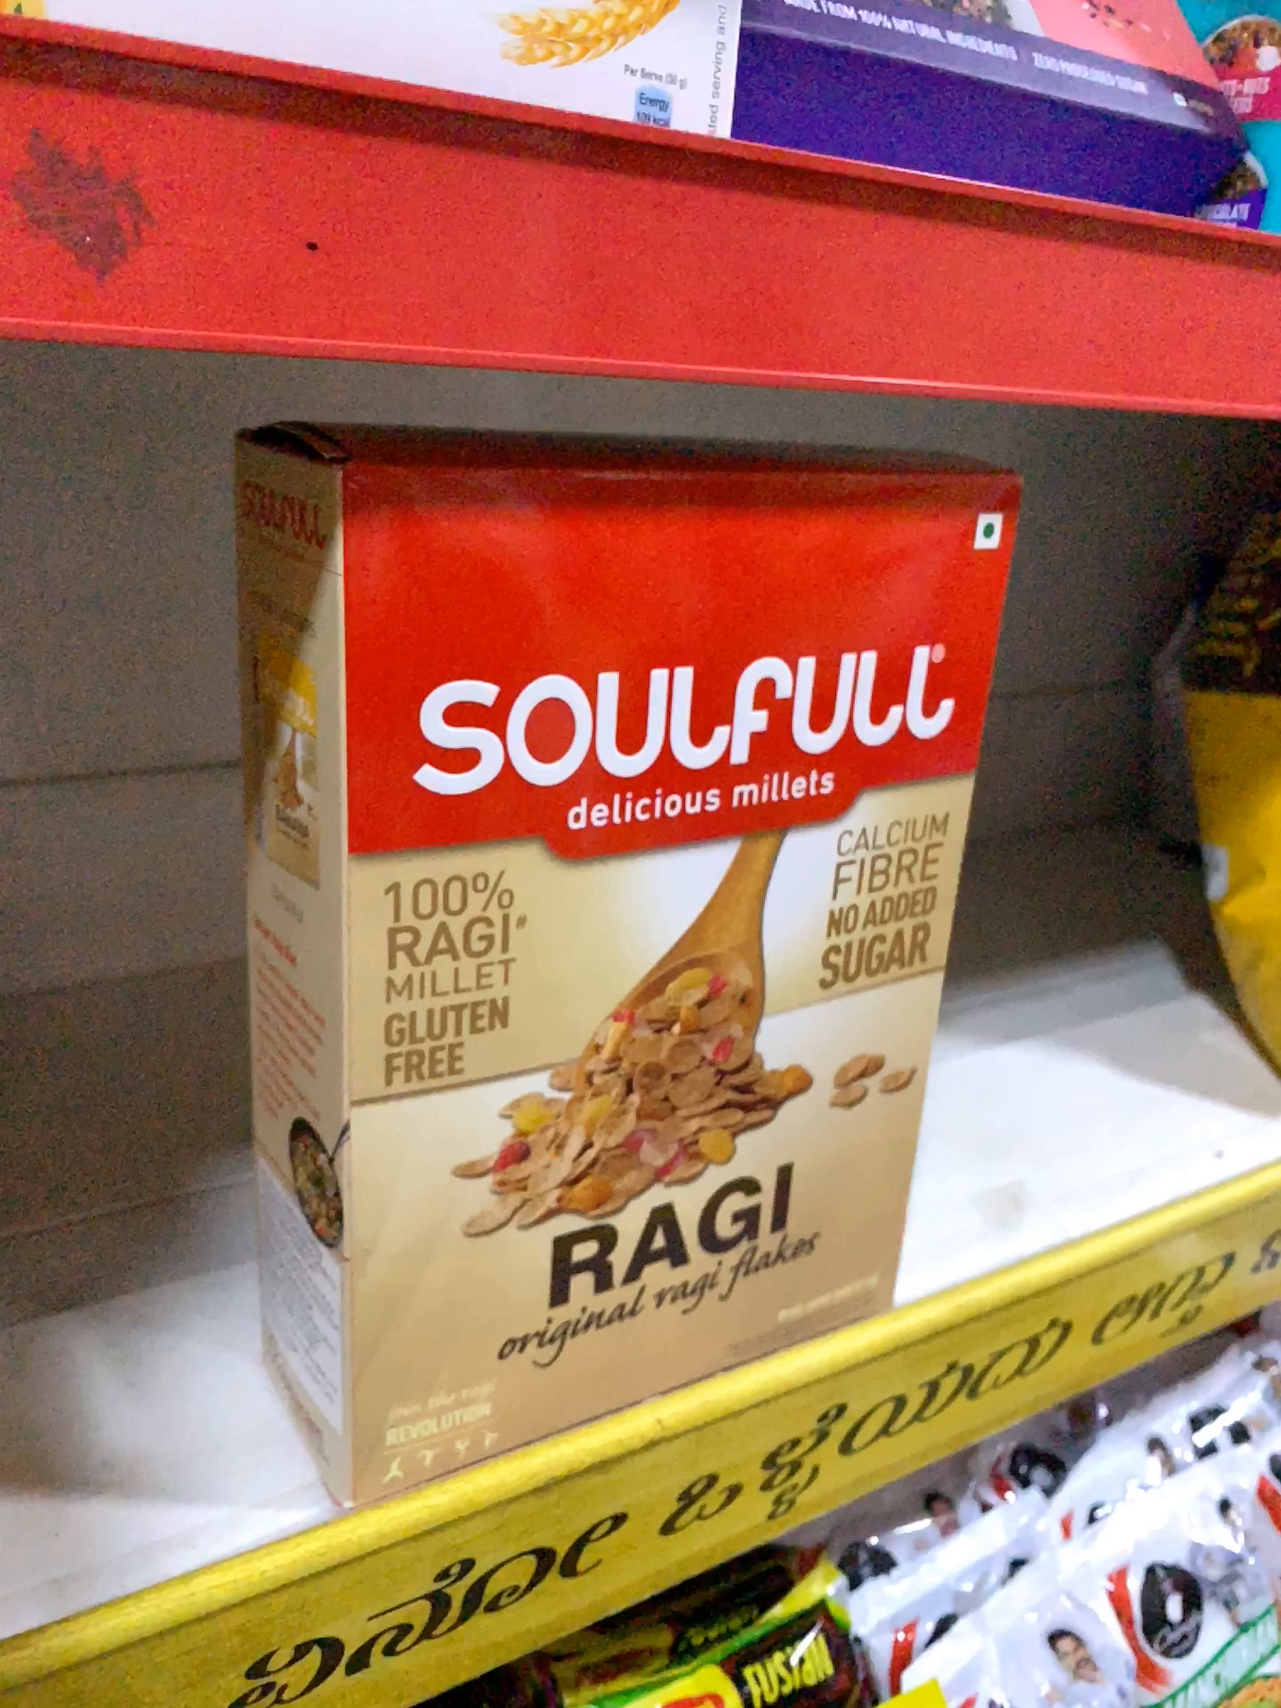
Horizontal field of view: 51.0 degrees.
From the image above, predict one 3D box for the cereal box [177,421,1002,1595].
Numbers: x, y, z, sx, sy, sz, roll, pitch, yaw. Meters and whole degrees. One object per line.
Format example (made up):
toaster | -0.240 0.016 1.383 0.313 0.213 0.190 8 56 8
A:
cereal box | -0.013 0.029 0.330 0.170 0.248 0.060 -9 24 -32
